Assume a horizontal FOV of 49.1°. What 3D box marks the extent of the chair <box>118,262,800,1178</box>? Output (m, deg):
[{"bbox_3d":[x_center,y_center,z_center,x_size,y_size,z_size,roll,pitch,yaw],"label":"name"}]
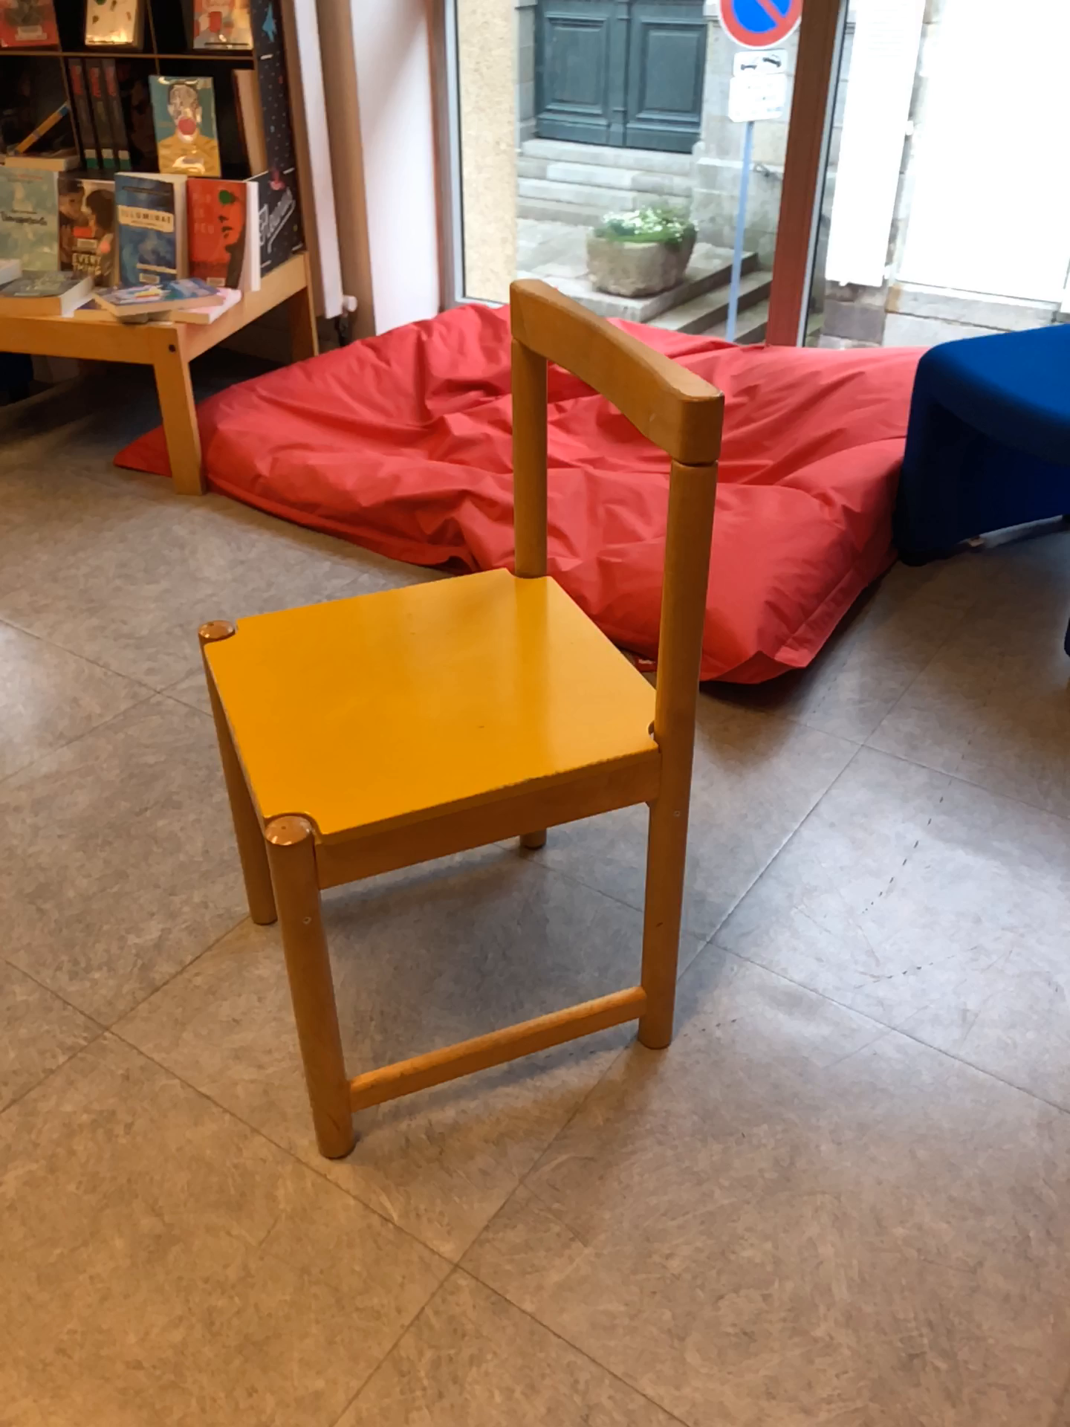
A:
[{"bbox_3d":[-0.092,-0.016,1.123,0.421,0.666,0.452,-13,36,-19],"label":"chair"}]
